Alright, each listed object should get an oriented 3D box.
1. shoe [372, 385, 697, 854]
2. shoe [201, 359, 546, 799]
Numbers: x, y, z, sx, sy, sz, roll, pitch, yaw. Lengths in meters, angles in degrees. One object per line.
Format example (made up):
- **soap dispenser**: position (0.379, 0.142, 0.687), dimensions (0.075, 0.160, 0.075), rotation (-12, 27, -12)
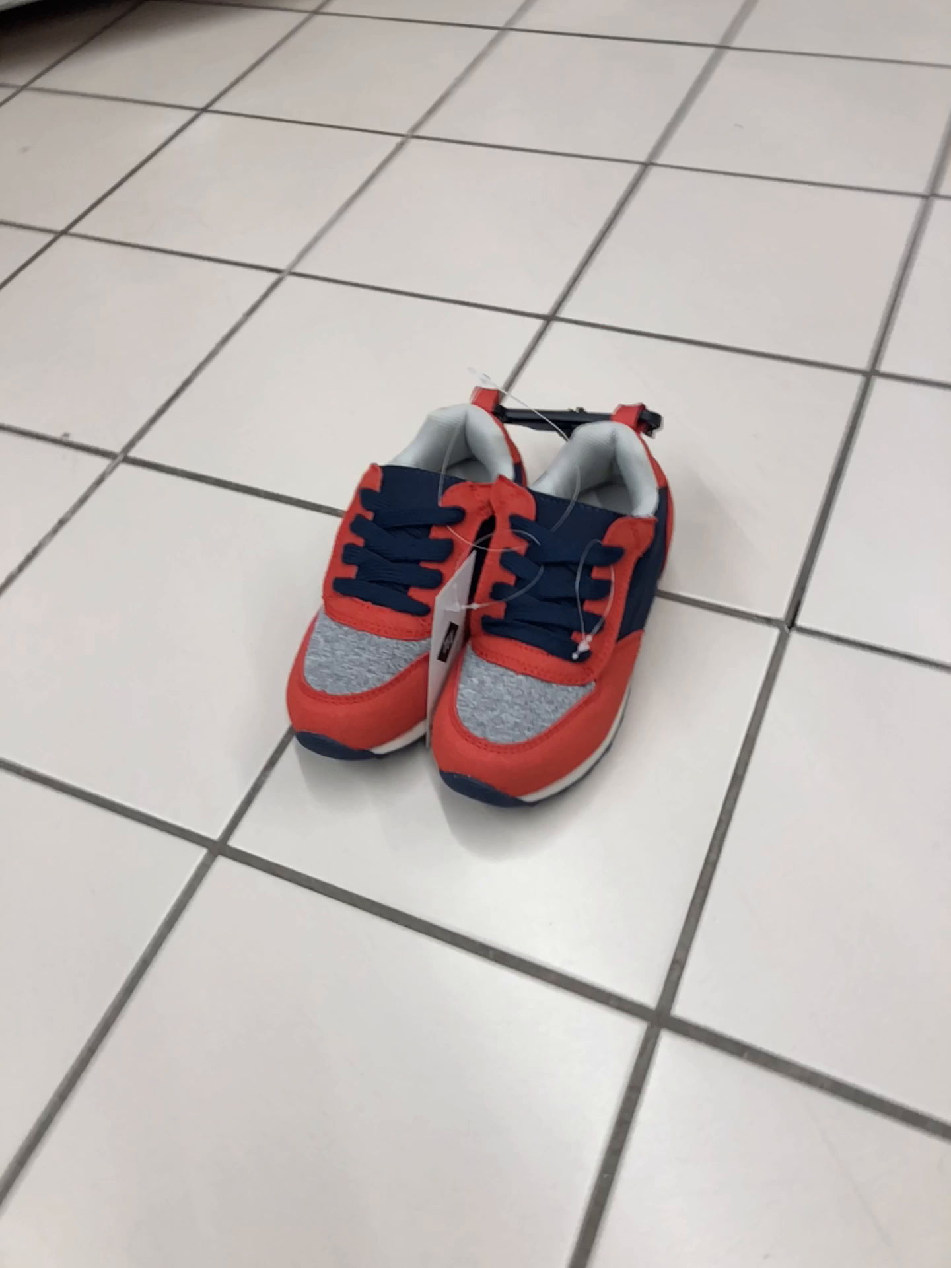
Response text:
- **shoe**: position (0.035, -0.014, 0.469), dimensions (0.082, 0.083, 0.189), rotation (12, 54, 16)
- **shoe**: position (-0.036, -0.033, 0.491), dimensions (0.082, 0.083, 0.188), rotation (12, 54, 16)
